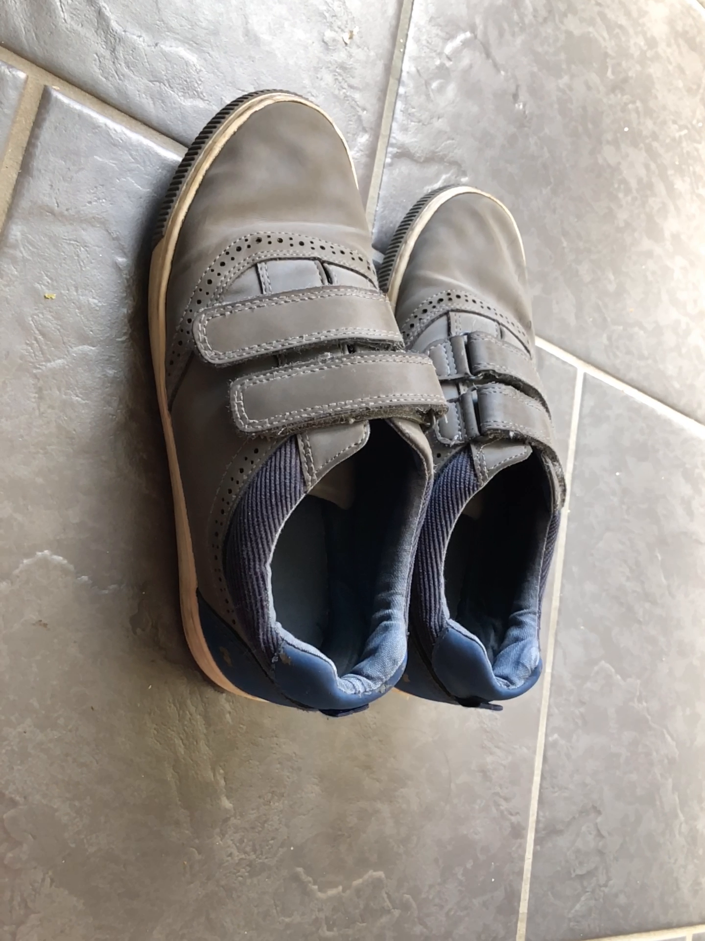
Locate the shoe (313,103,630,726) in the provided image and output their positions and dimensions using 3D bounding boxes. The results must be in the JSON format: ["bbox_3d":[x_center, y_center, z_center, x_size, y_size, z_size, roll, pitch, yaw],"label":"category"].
[{"bbox_3d":[0.060,-0.020,0.362,0.100,0.070,0.250,15,77,-34],"label":"shoe"}]

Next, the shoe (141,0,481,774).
[{"bbox_3d":[-0.017,-0.034,0.292,0.100,0.070,0.250,2,84,-36],"label":"shoe"}]
